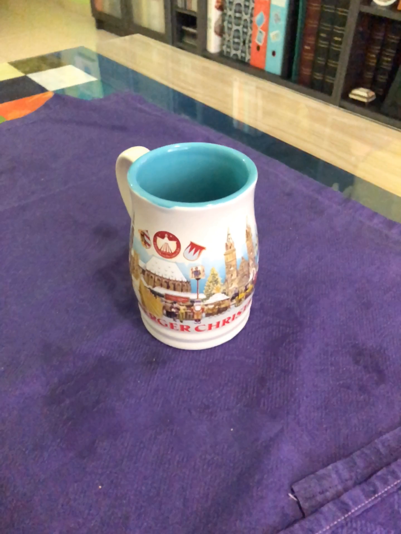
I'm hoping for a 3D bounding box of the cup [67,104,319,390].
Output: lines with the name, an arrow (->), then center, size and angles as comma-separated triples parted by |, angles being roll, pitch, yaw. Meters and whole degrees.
cup -> -0.009, -0.018, 0.275 | 0.080, 0.109, 0.120 | -26, 47, -26
